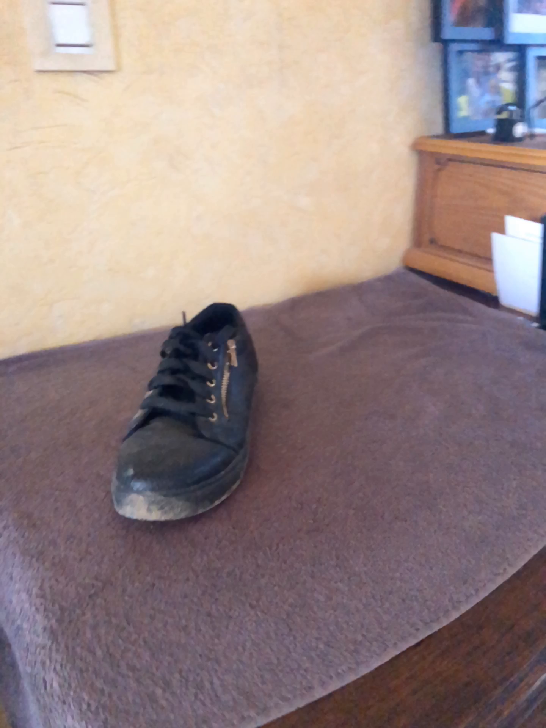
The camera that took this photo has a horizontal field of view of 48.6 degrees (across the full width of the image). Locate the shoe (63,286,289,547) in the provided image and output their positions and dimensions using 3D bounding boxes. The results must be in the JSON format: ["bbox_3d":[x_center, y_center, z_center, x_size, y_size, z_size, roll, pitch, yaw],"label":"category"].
[{"bbox_3d":[-0.059,0.021,0.519,0.100,0.089,0.272,4,27,10],"label":"shoe"}]
